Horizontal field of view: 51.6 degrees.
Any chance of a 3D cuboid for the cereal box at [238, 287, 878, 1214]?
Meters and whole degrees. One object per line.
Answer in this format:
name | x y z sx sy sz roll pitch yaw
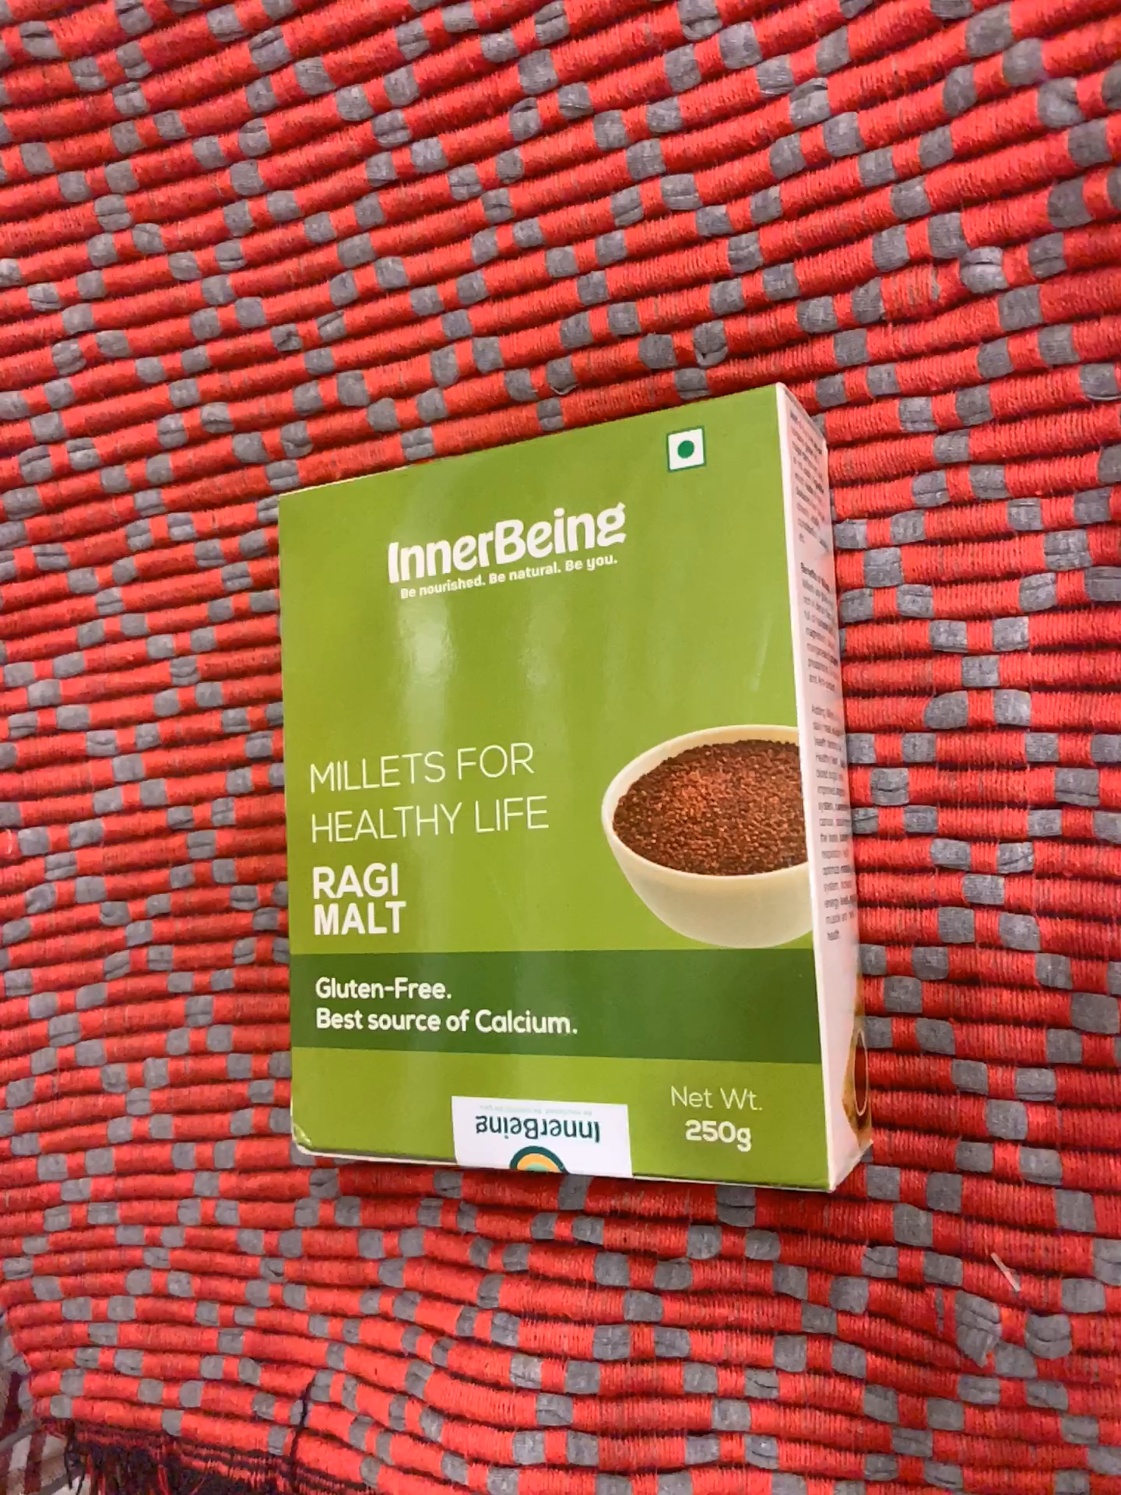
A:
cereal box | -0.005 0.004 0.262 0.130 0.050 0.170 -5 83 26
